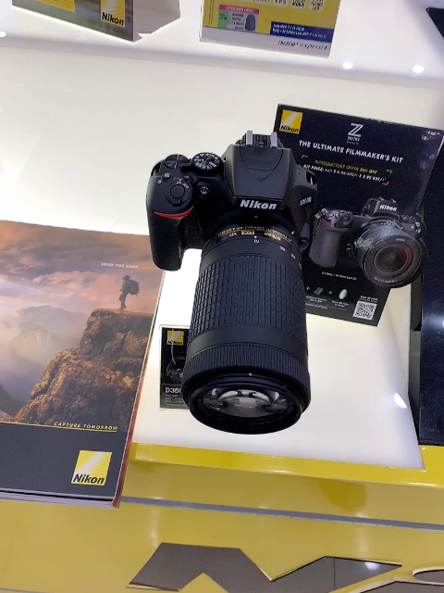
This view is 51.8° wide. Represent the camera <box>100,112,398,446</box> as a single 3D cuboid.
[{"bbox_3d":[0.010,-0.018,0.280,0.120,0.100,0.181,2,49,-2],"label":"camera"}]
